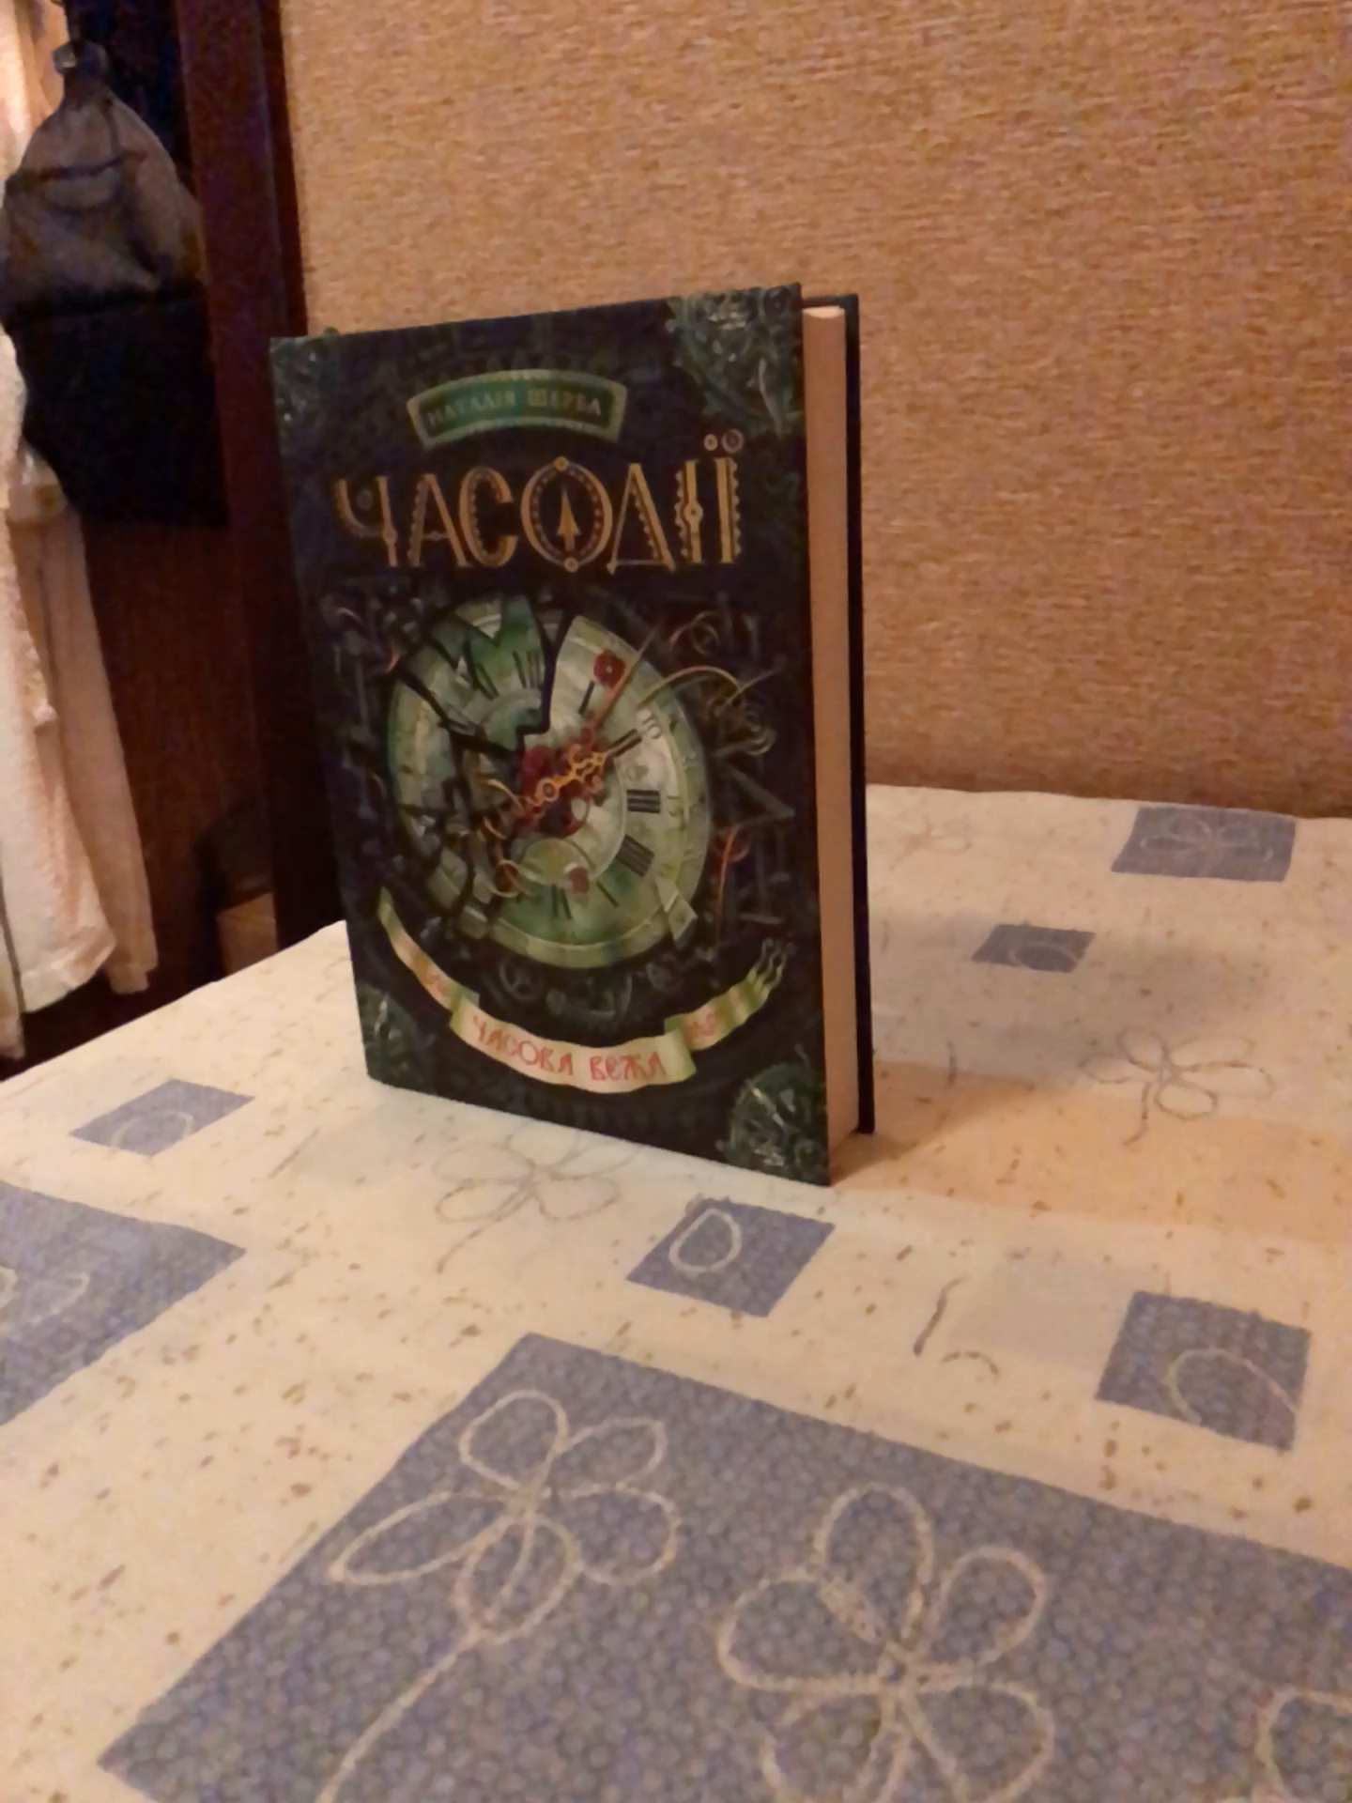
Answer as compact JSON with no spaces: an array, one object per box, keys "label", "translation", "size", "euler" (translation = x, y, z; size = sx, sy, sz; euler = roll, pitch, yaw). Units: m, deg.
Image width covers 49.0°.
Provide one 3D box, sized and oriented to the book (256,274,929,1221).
[{"label":"book","translation":[-0.025,-0.043,0.394],"size":[0.173,0.216,0.040],"euler":[10,20,31]}]
